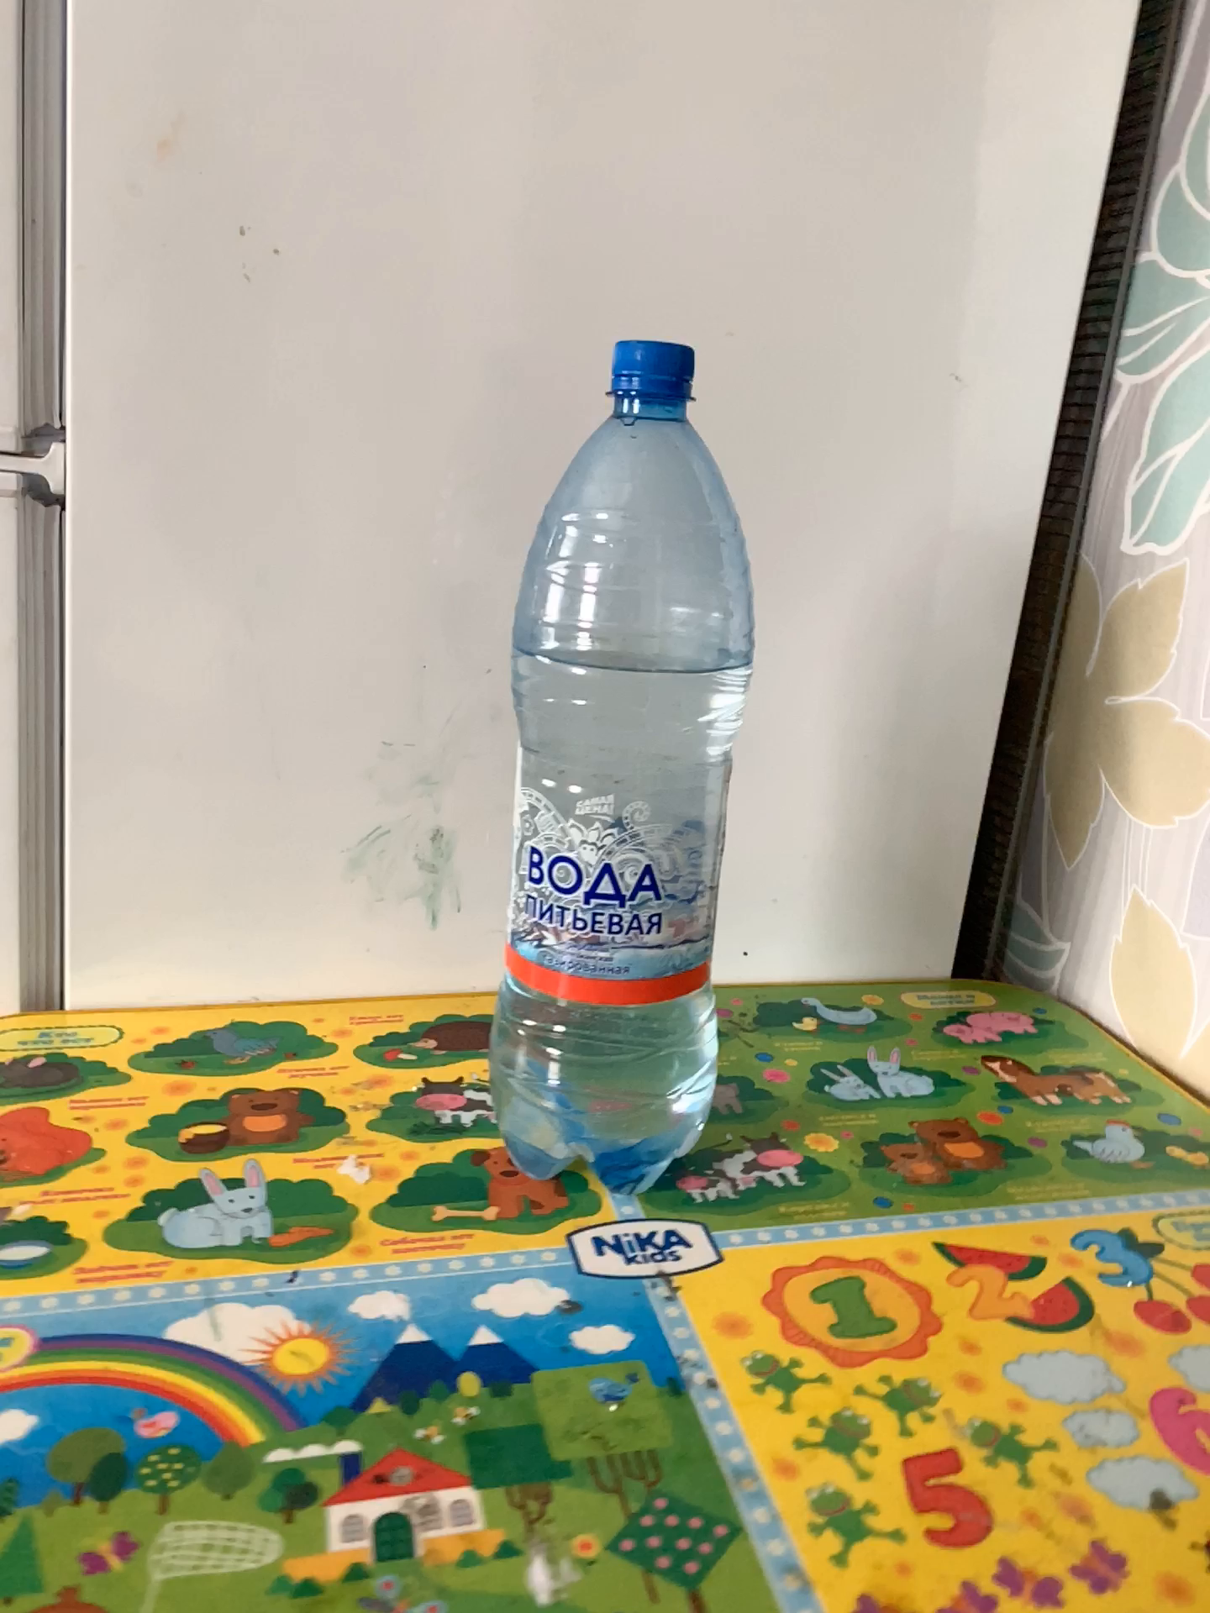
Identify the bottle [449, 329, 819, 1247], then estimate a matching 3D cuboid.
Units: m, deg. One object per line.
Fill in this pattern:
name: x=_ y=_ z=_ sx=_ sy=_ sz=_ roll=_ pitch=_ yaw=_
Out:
bottle: x=0.011 y=-0.008 z=0.482 sx=0.100 sy=0.318 sz=0.101 roll=4 pitch=15 yaw=-1
